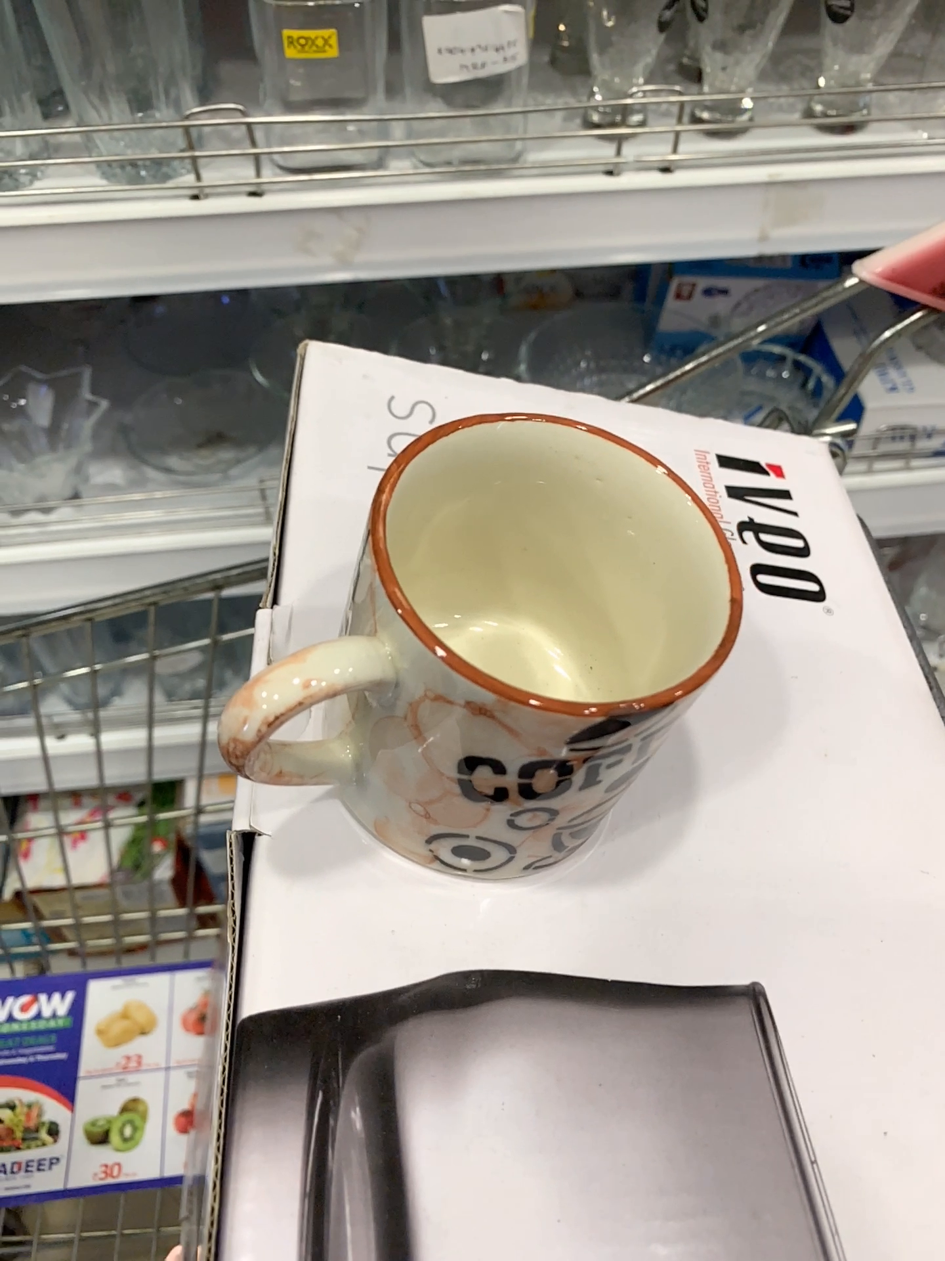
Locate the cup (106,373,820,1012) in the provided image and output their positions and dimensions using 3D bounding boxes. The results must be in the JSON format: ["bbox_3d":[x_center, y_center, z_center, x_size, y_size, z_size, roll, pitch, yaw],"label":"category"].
[{"bbox_3d":[-0.007,0.006,0.188,0.100,0.070,0.070,-16,52,-28],"label":"cup"}]
